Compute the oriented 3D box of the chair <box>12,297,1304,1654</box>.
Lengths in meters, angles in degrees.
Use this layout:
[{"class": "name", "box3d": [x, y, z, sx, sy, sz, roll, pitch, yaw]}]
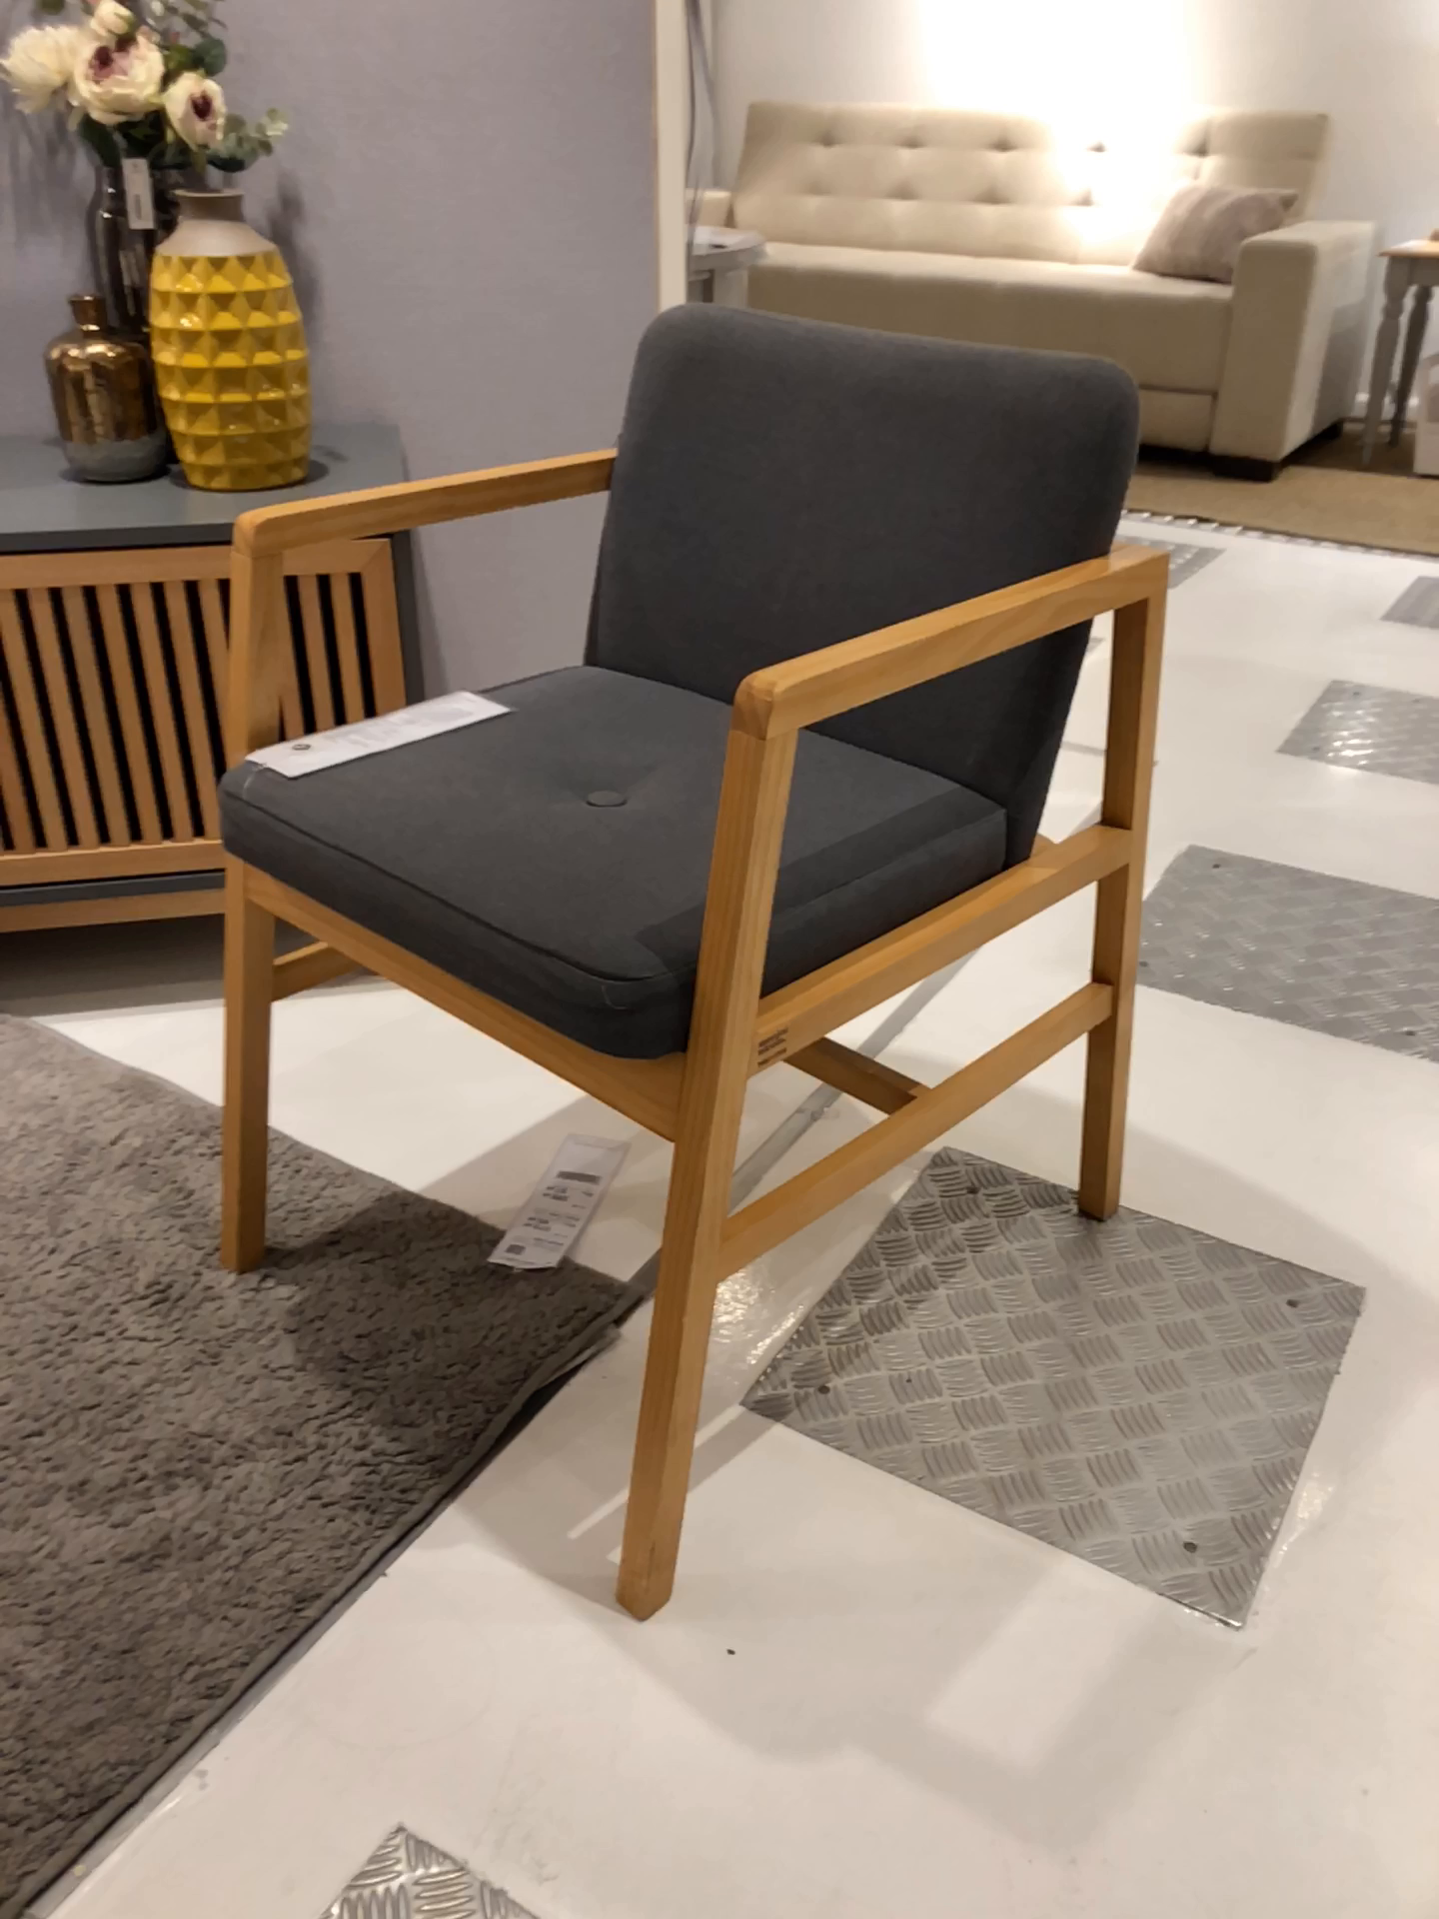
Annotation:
[{"class": "chair", "box3d": [-0.020, -0.084, 1.264, 0.562, 0.734, 0.703, 24, 36, 37]}]
